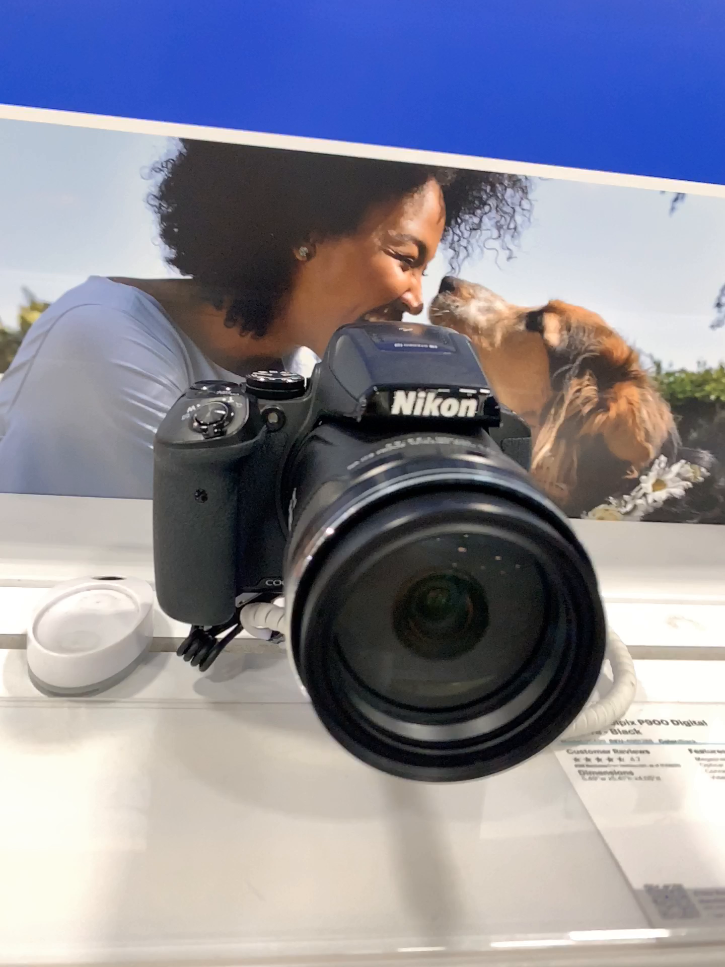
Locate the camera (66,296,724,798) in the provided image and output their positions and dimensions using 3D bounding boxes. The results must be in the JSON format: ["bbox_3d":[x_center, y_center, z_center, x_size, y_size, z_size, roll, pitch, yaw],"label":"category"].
[{"bbox_3d":[0.002,0.002,0.230,0.140,0.100,0.153,4,14,-8],"label":"camera"}]
